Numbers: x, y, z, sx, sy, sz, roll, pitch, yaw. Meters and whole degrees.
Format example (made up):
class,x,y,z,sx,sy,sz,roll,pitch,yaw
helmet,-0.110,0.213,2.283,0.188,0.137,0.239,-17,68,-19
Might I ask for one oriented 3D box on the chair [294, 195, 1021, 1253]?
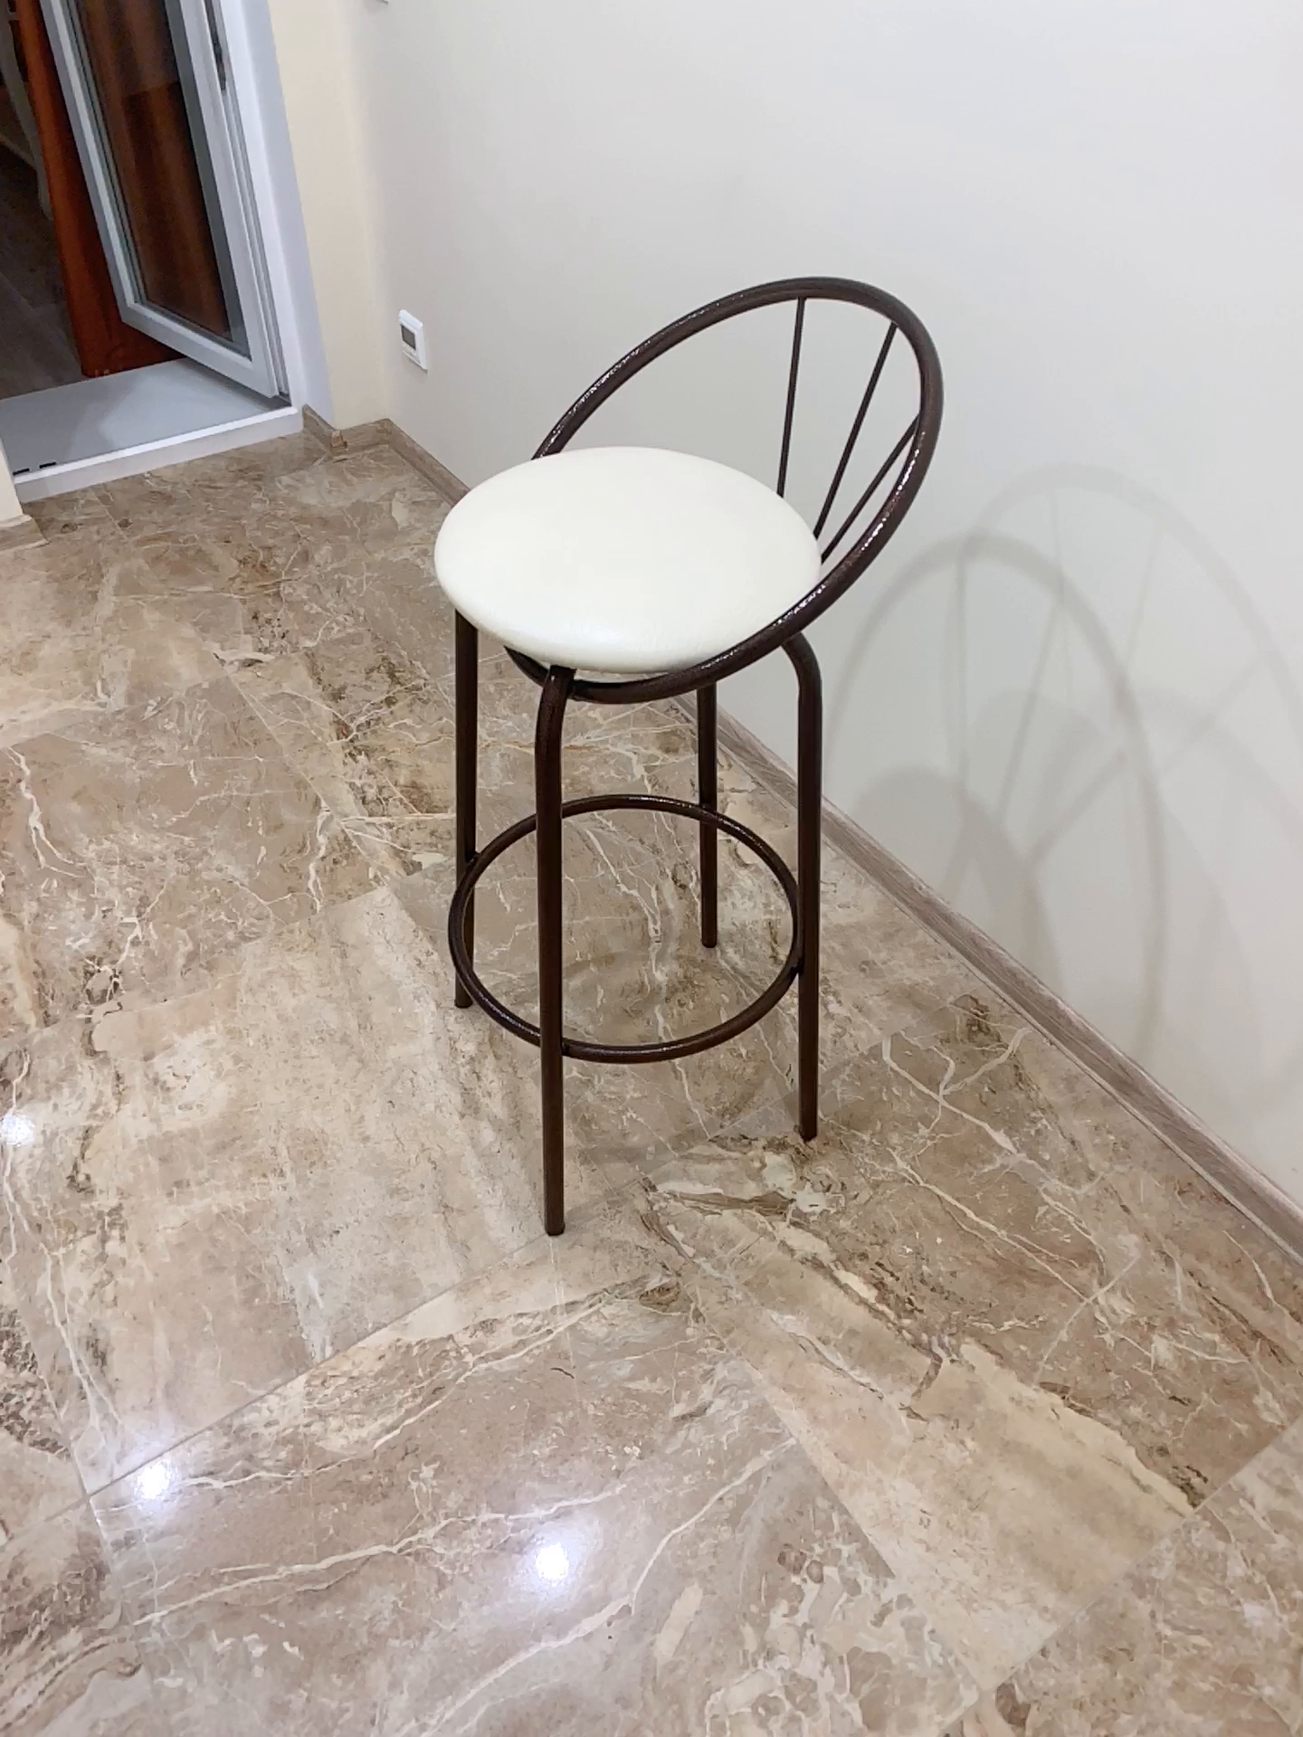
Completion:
class,x,y,z,sx,sy,sz,roll,pitch,yaw
chair,-0.022,-0.096,1.237,0.400,0.835,0.402,-15,46,-16
